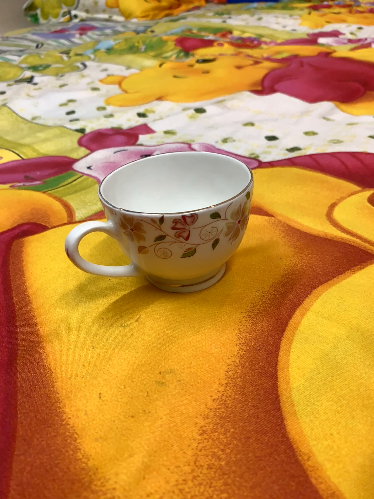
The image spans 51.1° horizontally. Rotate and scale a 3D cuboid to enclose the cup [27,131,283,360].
[{"bbox_3d":[-0.014,-0.012,0.210,0.100,0.059,0.080,-28,40,-27],"label":"cup"}]
